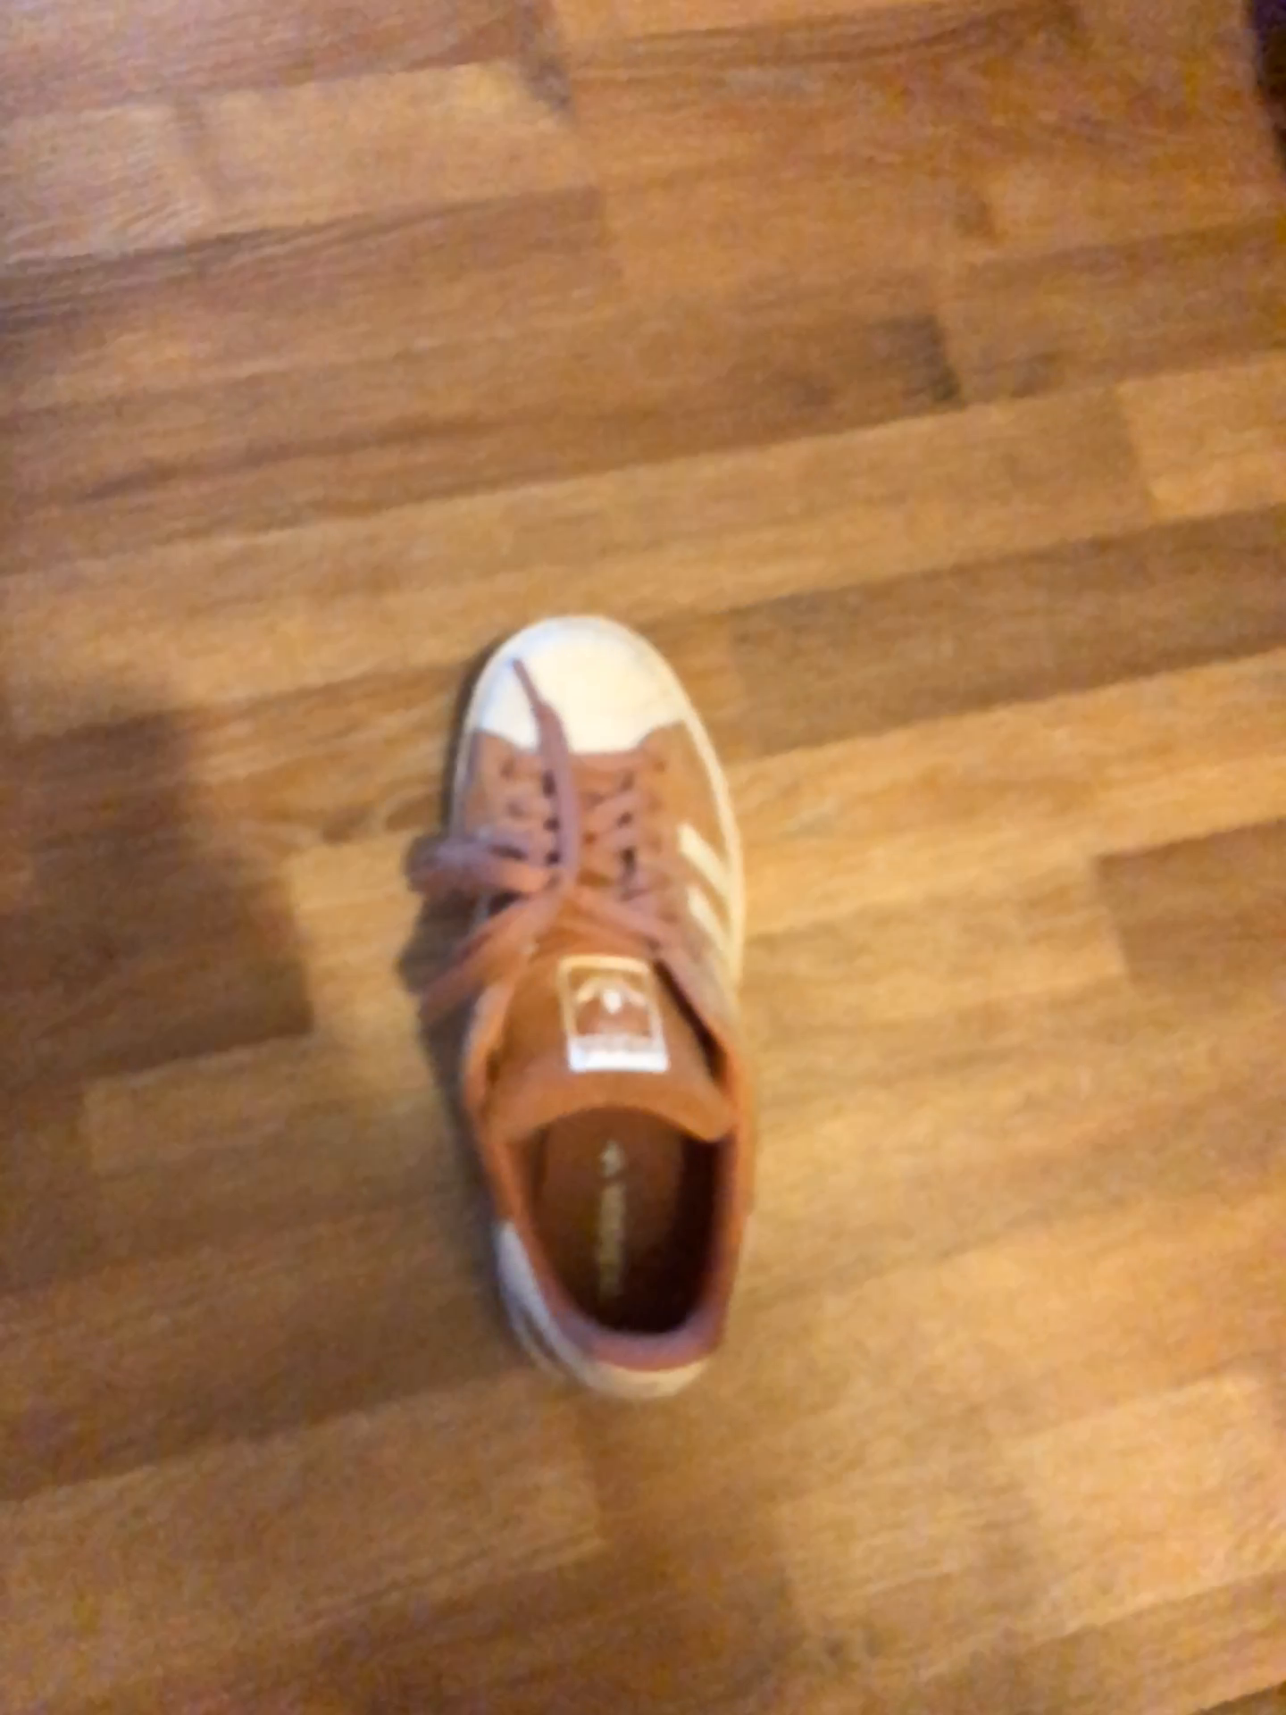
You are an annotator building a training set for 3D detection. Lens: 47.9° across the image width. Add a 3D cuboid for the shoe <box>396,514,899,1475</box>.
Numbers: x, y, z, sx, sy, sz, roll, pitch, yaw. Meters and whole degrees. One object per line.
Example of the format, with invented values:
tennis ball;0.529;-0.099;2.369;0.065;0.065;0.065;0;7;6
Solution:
shoe;-0.008;0.039;0.459;0.110;0.110;0.260;-6;77;-7
